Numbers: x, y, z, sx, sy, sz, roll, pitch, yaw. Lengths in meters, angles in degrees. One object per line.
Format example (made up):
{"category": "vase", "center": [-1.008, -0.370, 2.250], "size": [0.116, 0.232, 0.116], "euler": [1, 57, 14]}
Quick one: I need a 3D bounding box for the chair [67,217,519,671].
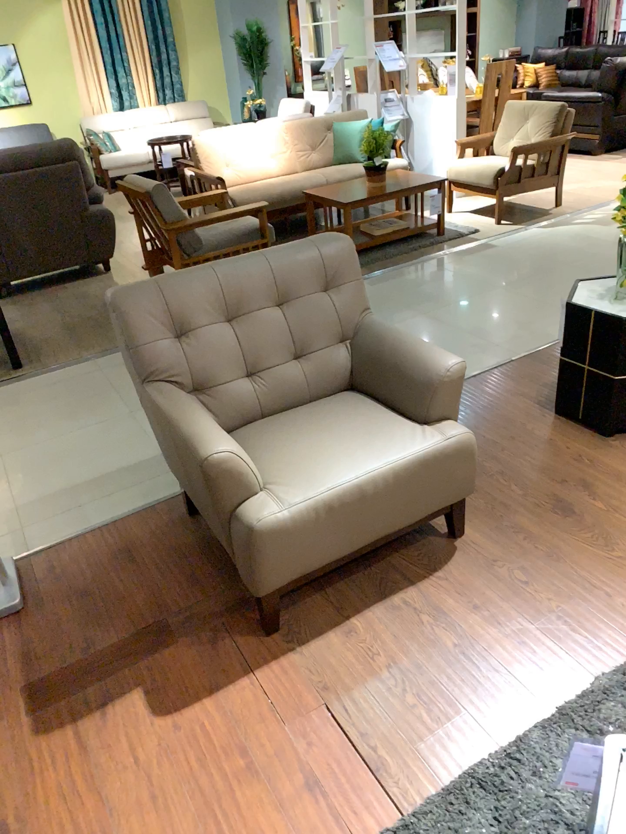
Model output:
{"category": "chair", "center": [-0.086, -0.043, 2.058], "size": [0.951, 0.856, 1.003], "euler": [-21, 33, -25]}
